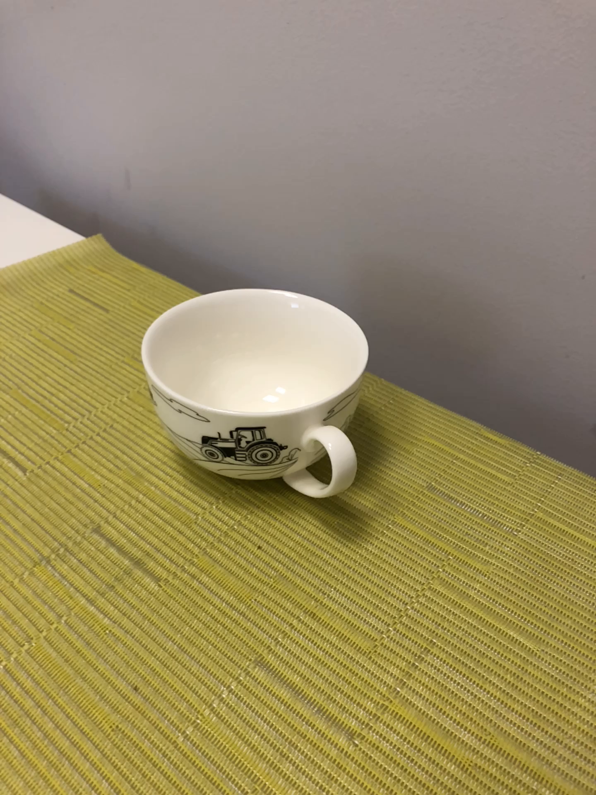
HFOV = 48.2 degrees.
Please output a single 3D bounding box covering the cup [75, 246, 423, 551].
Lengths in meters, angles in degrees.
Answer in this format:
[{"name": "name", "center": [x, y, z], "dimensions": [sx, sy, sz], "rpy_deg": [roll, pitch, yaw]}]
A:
[{"name": "cup", "center": [-0.024, -0.010, 0.276], "dimensions": [0.089, 0.051, 0.114], "rpy_deg": [-22, 43, -30]}]
